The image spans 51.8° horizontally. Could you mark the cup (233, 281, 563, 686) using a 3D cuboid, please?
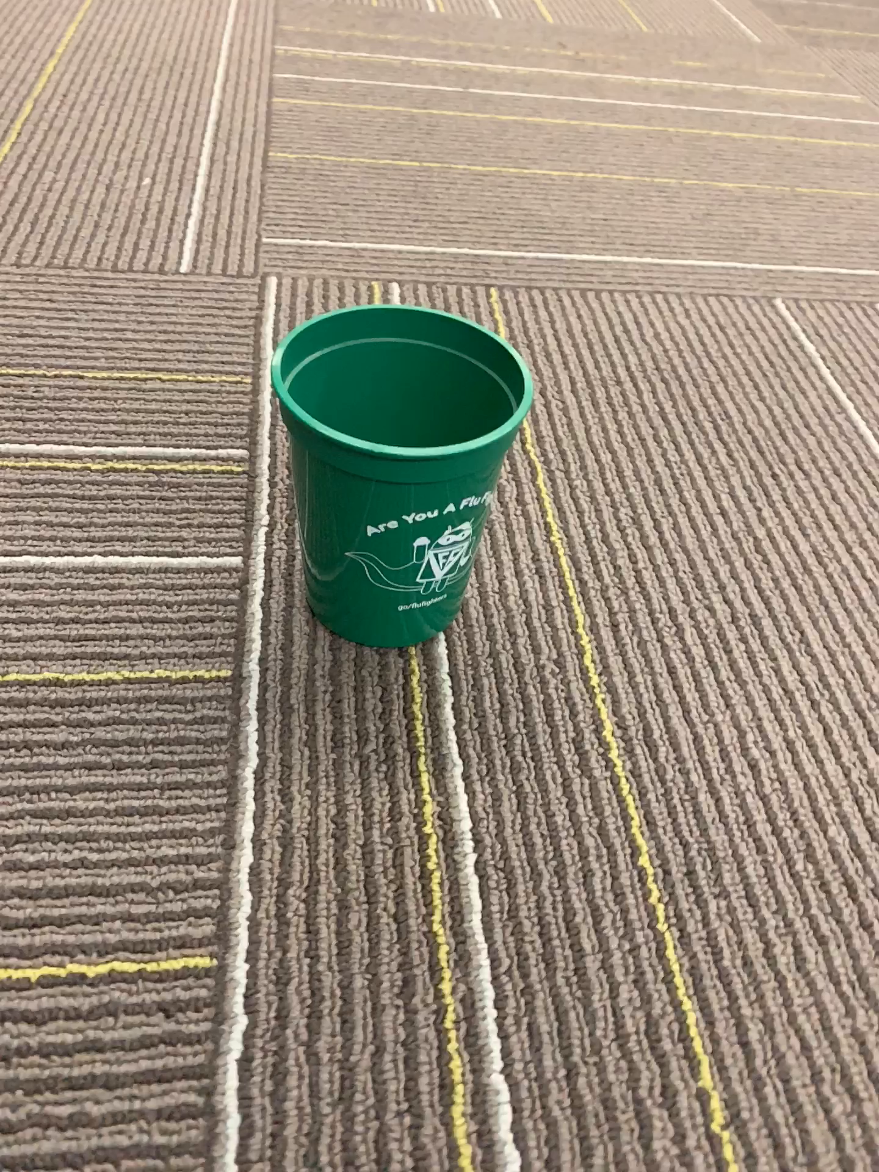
[{"bbox_3d":[-0.022,-0.040,0.359,0.090,0.119,0.080,-16,51,-22],"label":"cup"}]
